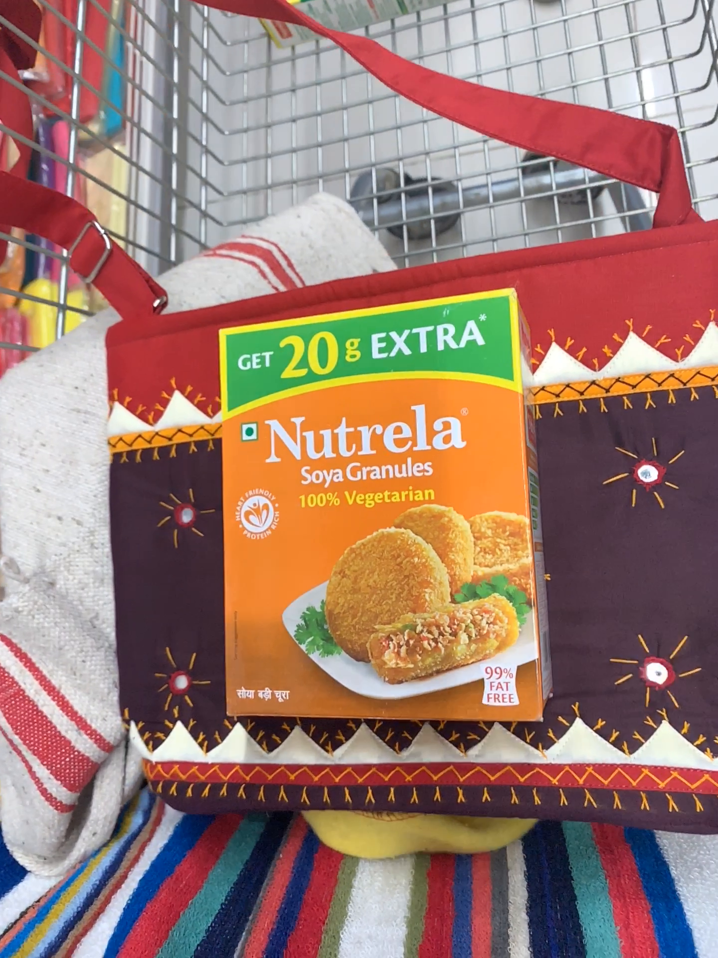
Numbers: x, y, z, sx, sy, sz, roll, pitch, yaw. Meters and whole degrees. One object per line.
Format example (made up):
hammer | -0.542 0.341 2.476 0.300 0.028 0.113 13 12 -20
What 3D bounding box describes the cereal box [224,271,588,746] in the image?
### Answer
cereal box | 0.017 0.014 0.279 0.120 0.060 0.150 -4 81 18
